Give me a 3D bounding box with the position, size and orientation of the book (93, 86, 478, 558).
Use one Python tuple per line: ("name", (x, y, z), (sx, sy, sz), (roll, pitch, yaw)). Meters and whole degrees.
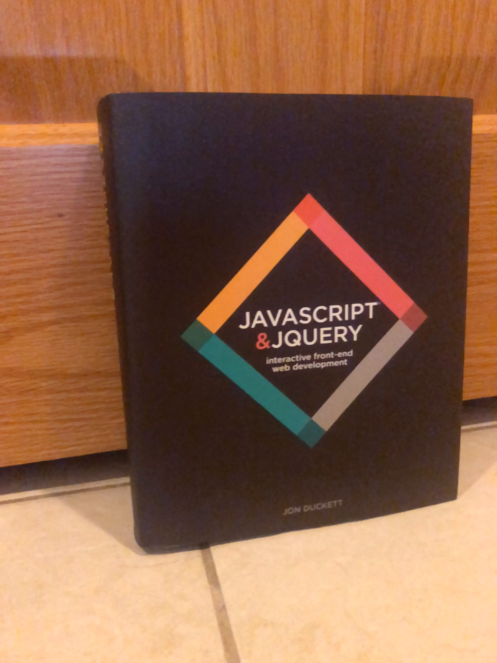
("book", (0.026, -0.011, 0.324), (0.200, 0.238, 0.060), (-5, 10, -12))
